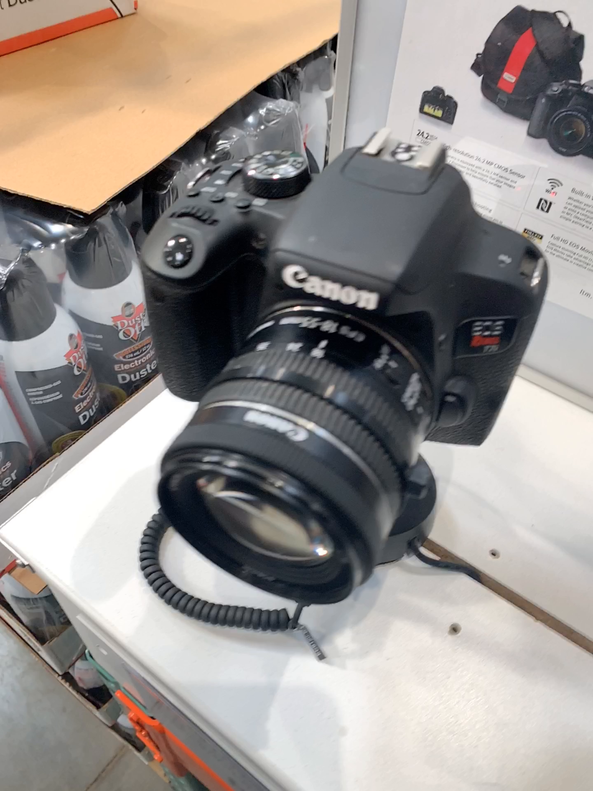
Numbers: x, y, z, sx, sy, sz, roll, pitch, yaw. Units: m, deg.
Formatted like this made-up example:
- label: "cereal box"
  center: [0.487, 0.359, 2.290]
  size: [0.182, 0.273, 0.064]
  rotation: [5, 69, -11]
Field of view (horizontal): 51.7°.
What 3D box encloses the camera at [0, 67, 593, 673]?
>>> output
- label: "camera"
  center: [-0.001, -0.017, 0.184]
  size: [0.134, 0.089, 0.121]
  rotation: [19, 51, 13]
